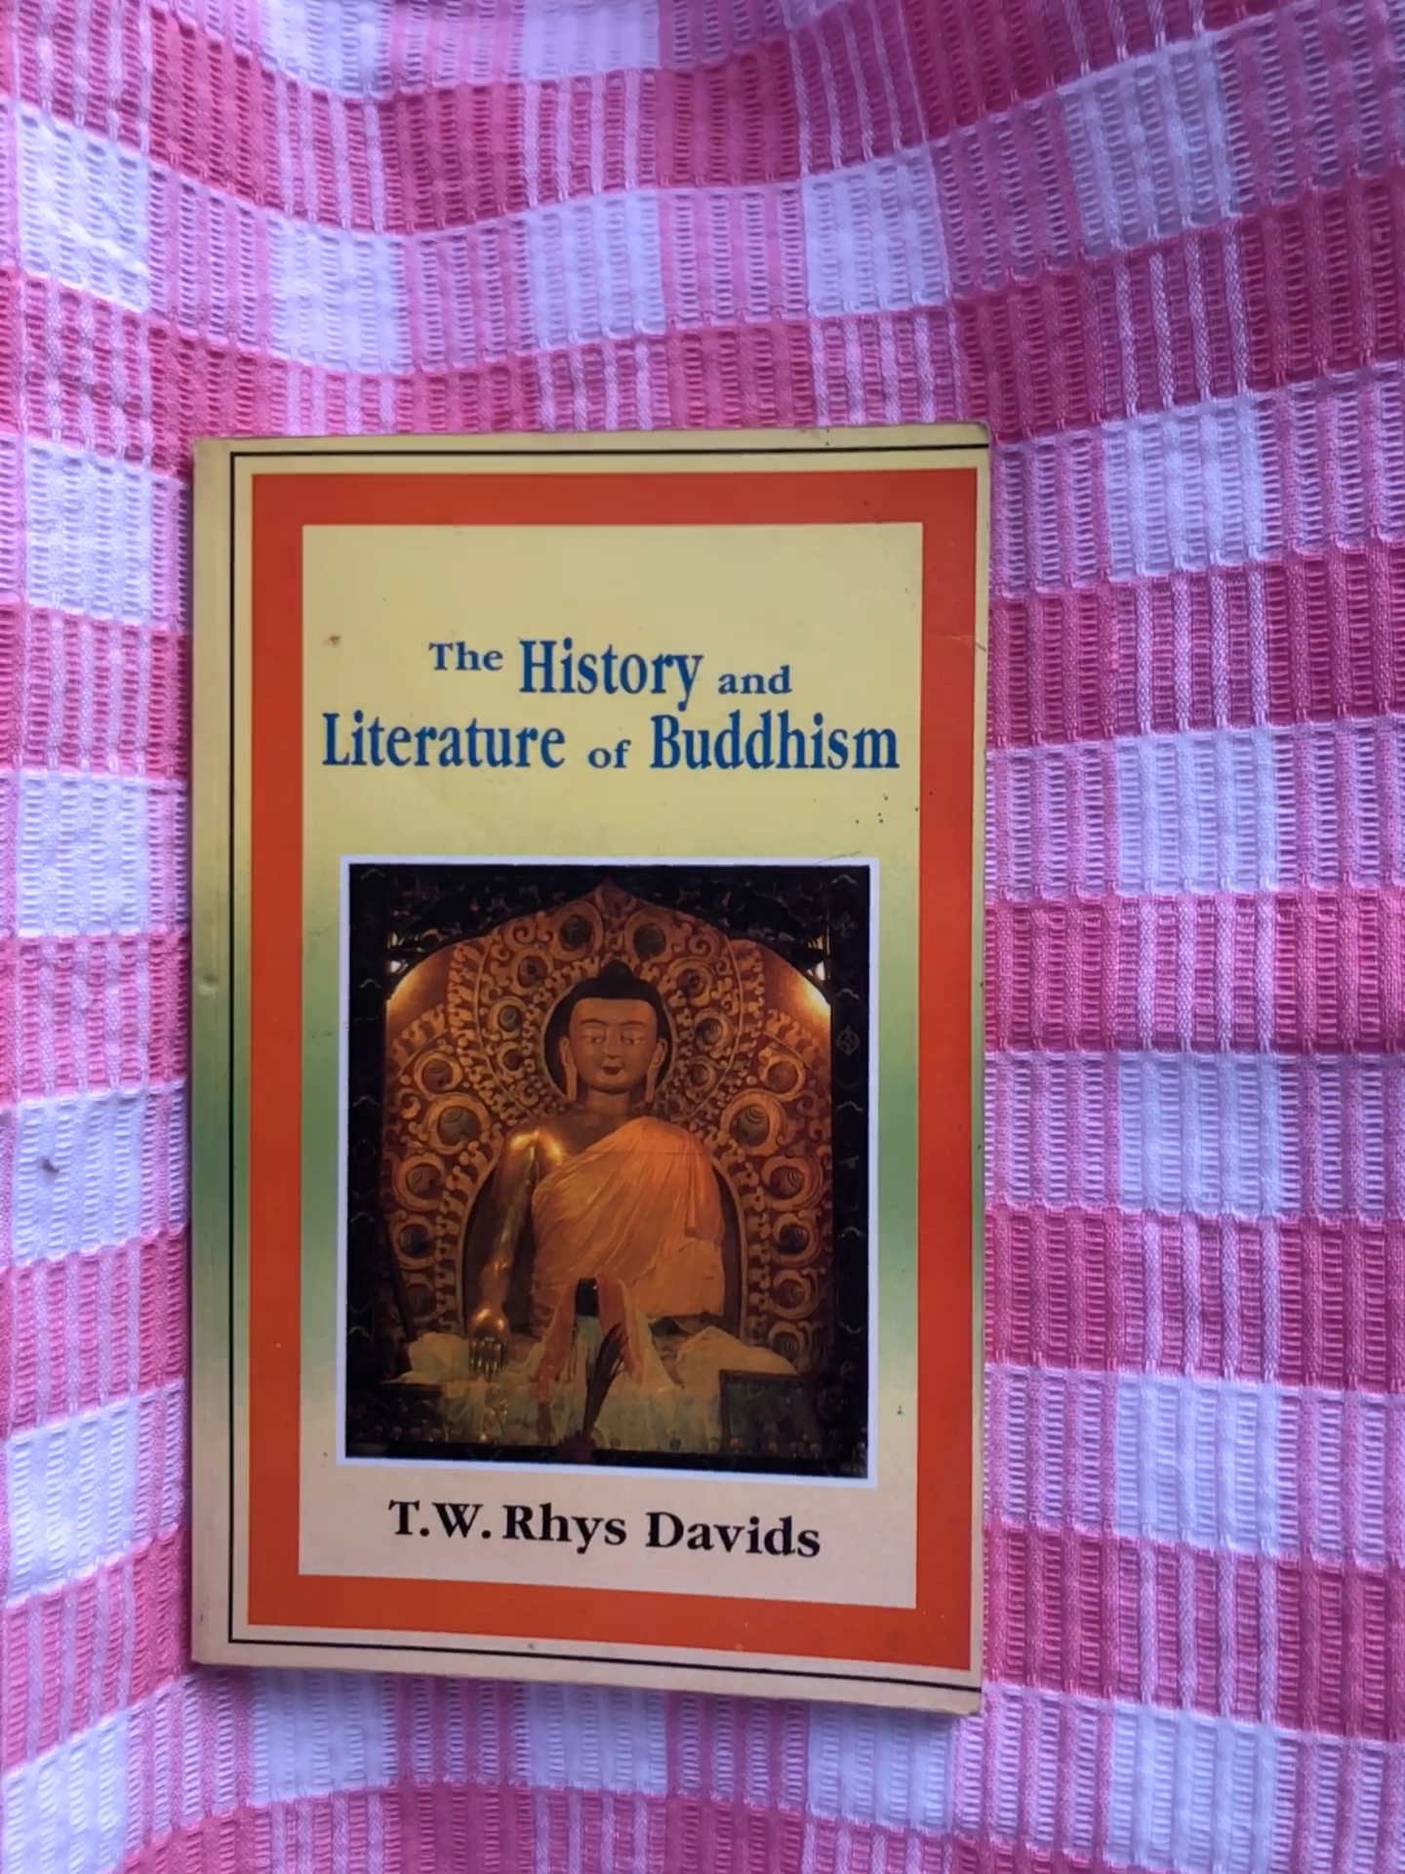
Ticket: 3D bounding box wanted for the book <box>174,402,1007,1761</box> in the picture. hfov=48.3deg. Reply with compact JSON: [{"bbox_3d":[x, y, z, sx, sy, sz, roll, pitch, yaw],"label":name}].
[{"bbox_3d":[-0.020,0.022,0.274,0.020,0.140,0.220,-1,92,-82],"label":"book"}]
